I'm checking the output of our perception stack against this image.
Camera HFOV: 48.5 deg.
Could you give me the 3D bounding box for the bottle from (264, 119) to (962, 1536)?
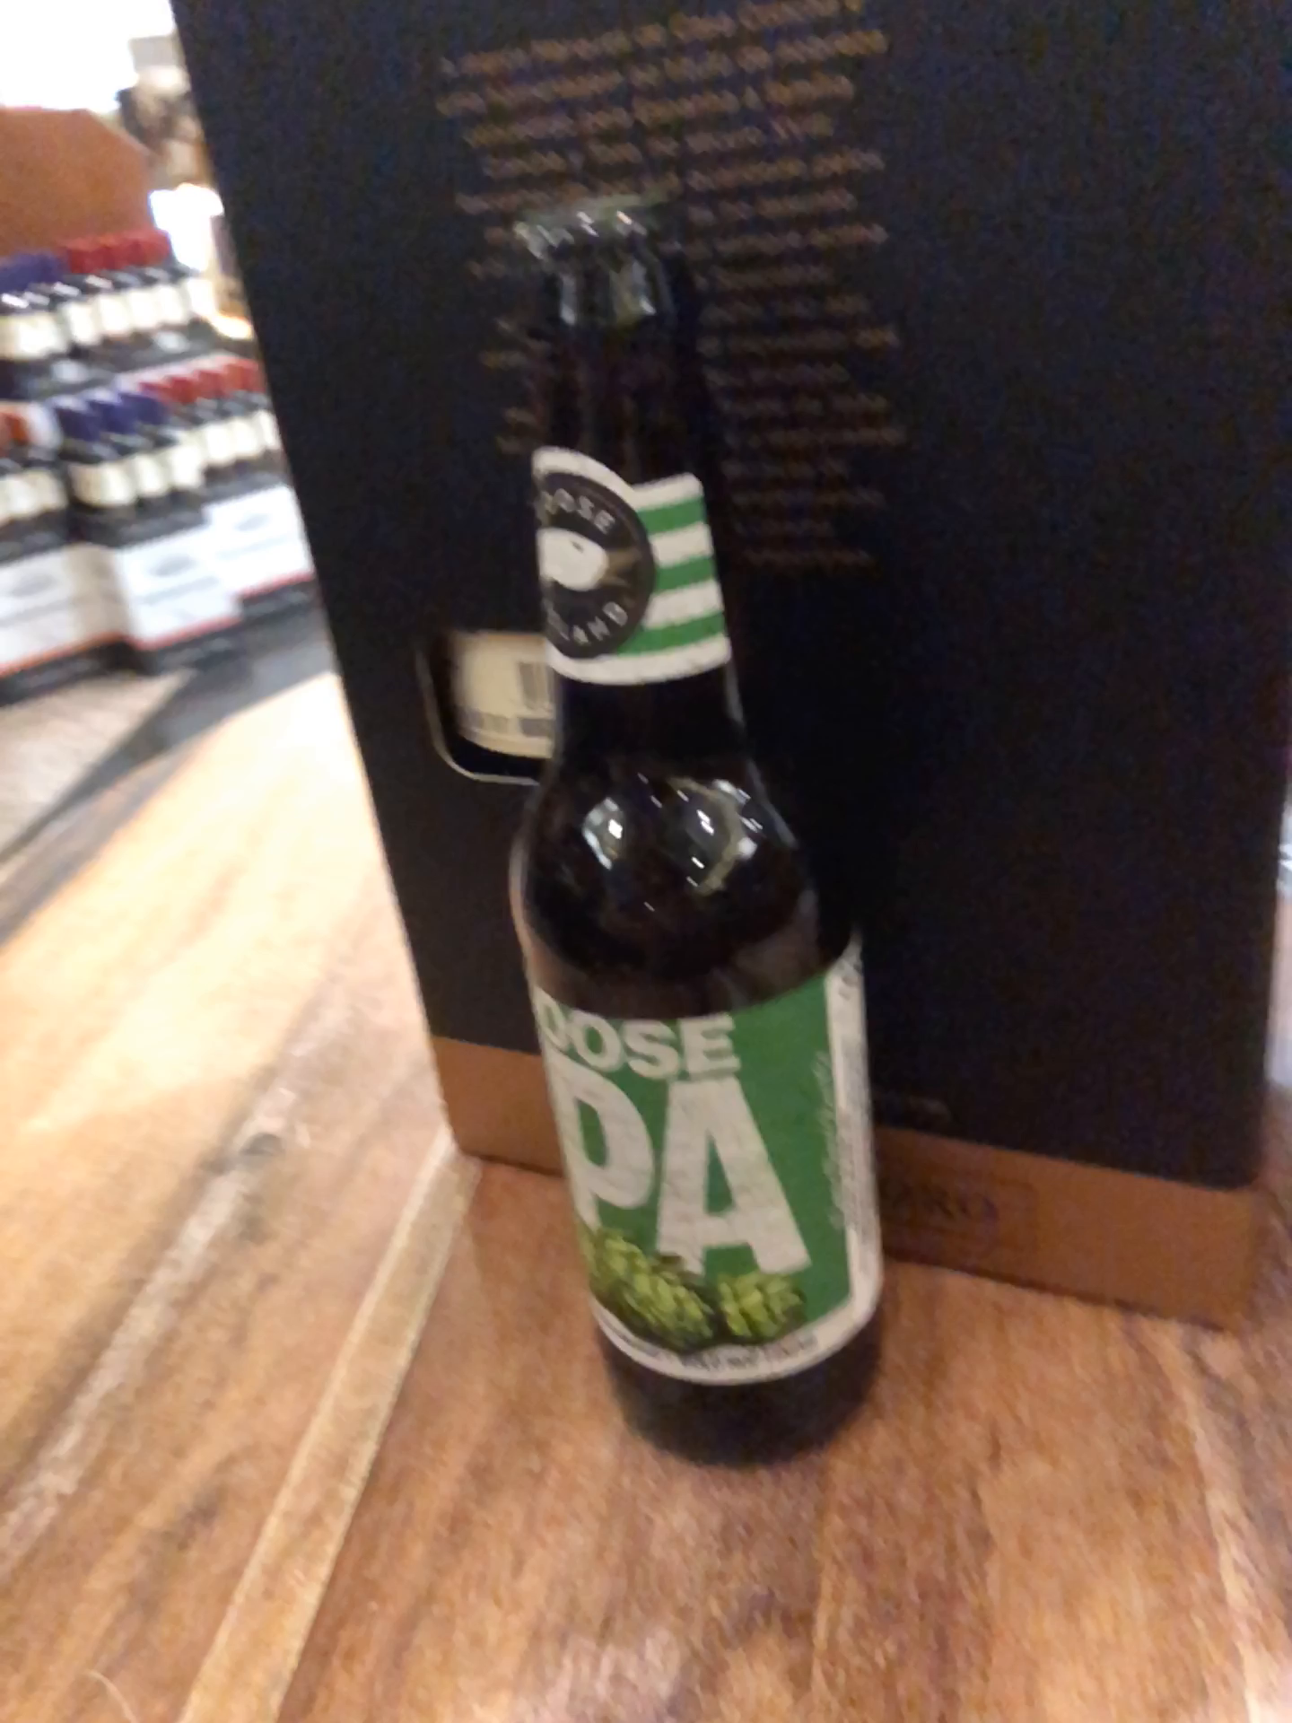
[{"bbox_3d":[0.008,0.004,0.251,0.070,0.228,0.060,8,31,29],"label":"bottle"}]
